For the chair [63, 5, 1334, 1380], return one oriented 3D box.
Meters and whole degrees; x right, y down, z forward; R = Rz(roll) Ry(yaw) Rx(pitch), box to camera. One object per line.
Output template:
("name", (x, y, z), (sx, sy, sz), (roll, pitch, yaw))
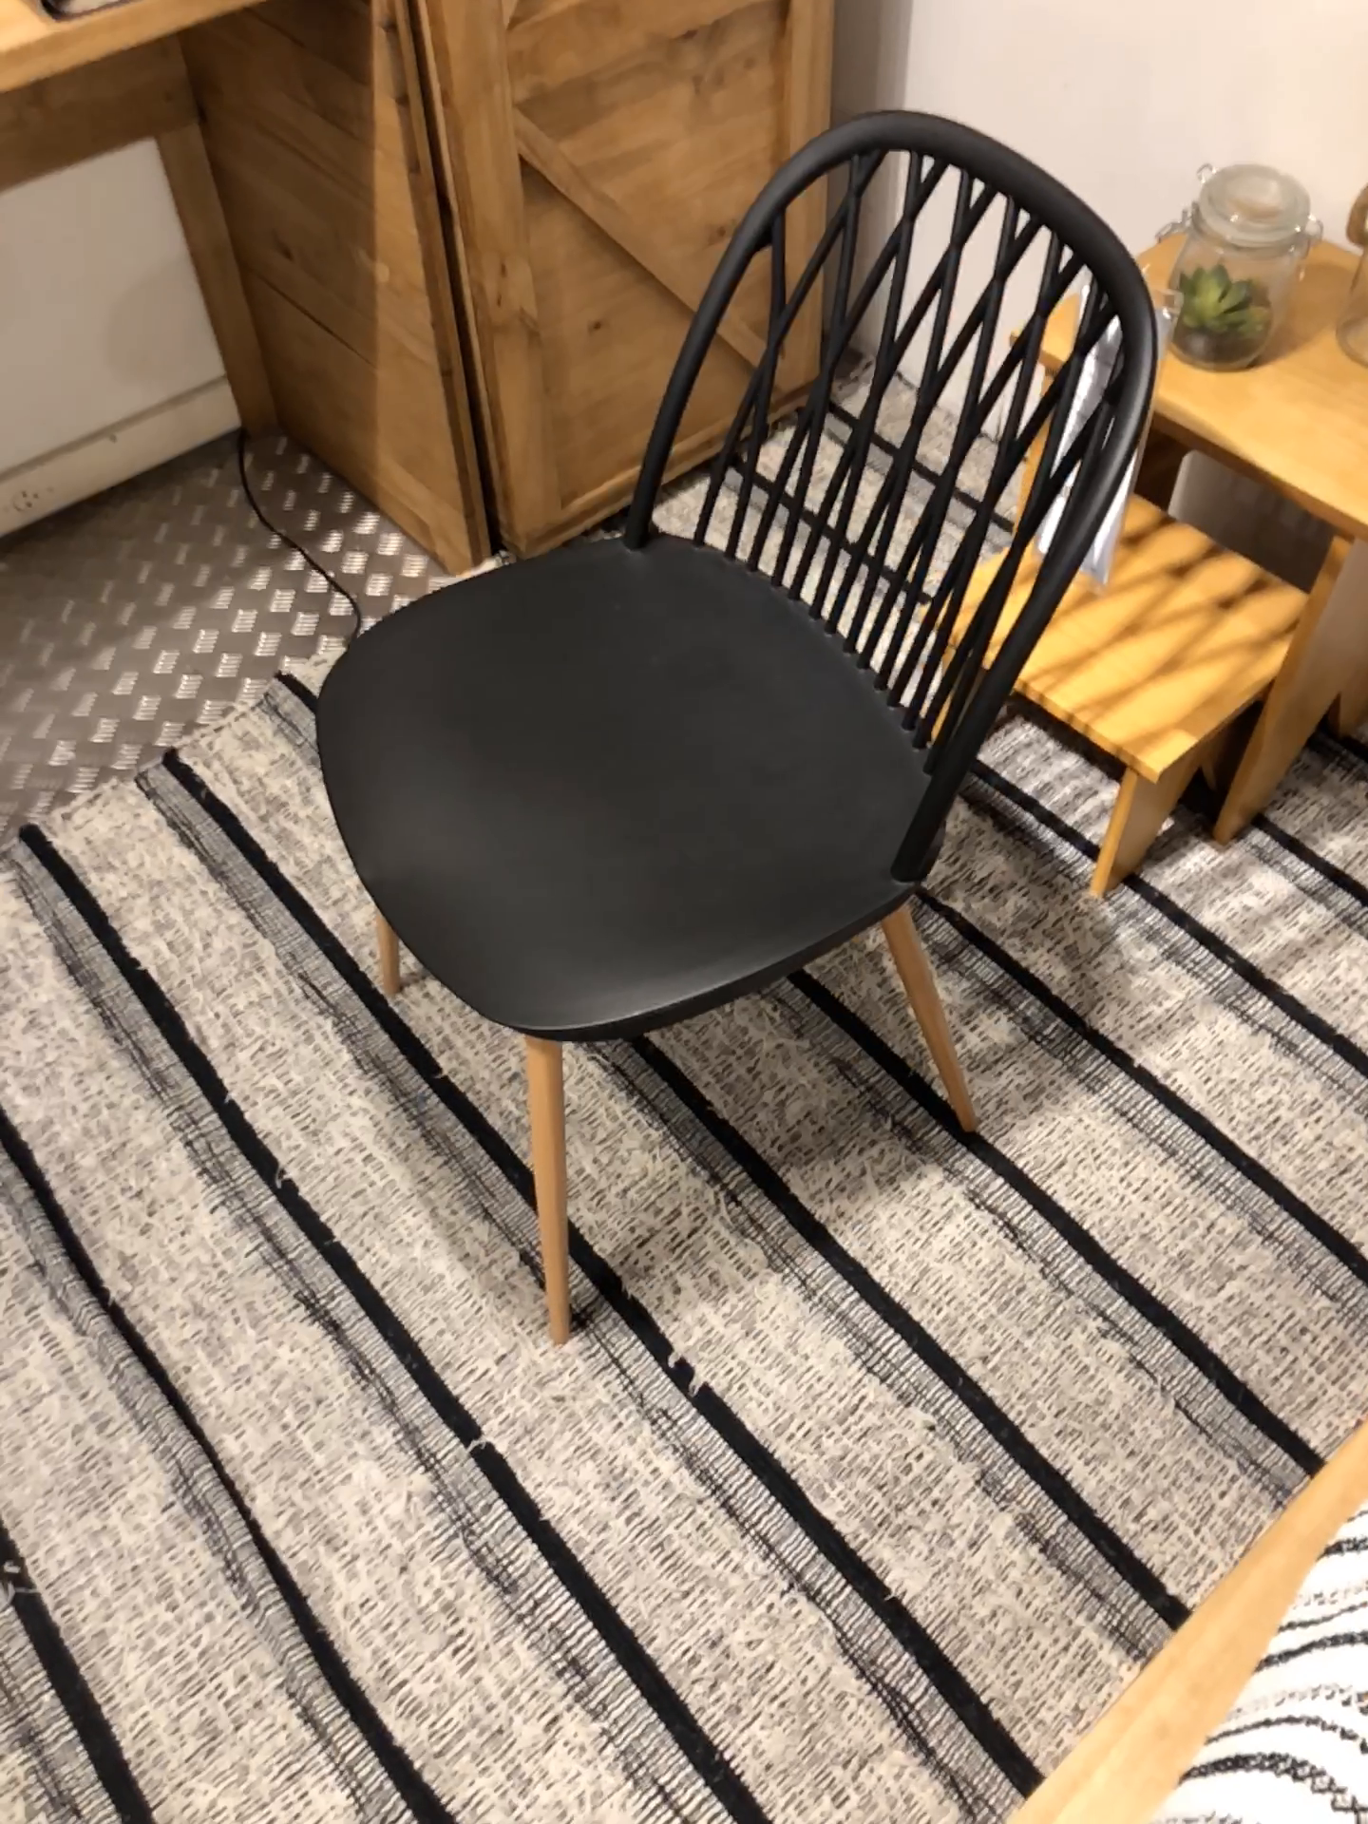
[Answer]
("chair", (-0.007, -0.117, 1.134), (0.541, 0.775, 0.472), (-24, 56, -16))
